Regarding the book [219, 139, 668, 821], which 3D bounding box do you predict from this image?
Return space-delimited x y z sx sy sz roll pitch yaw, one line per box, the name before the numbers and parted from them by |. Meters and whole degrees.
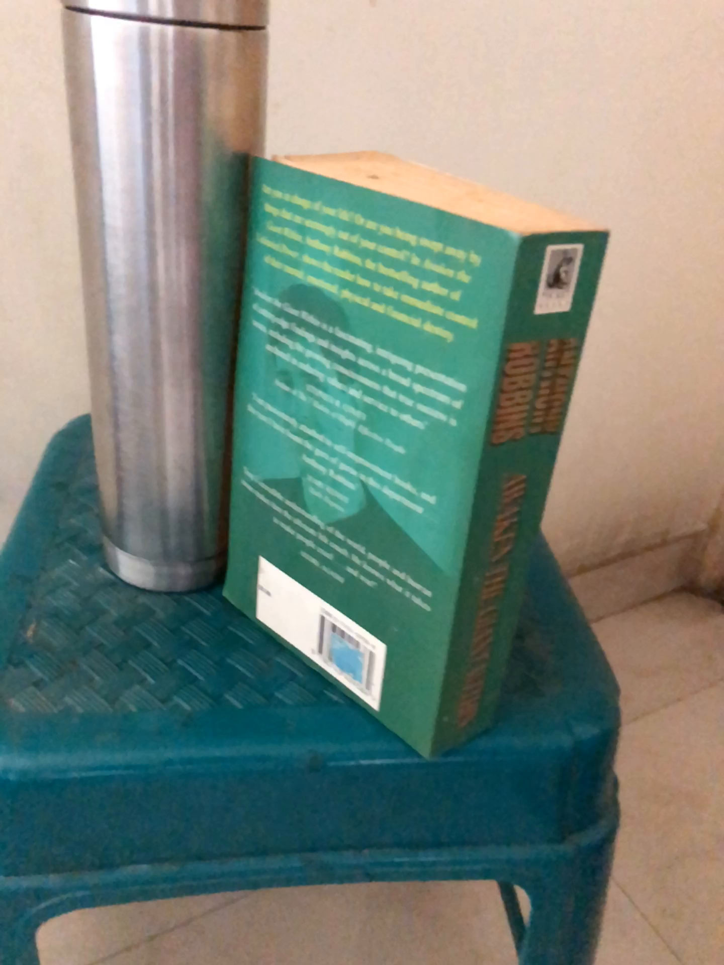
book | 0.007 -0.003 0.291 0.050 0.199 0.140 -20 40 -35
